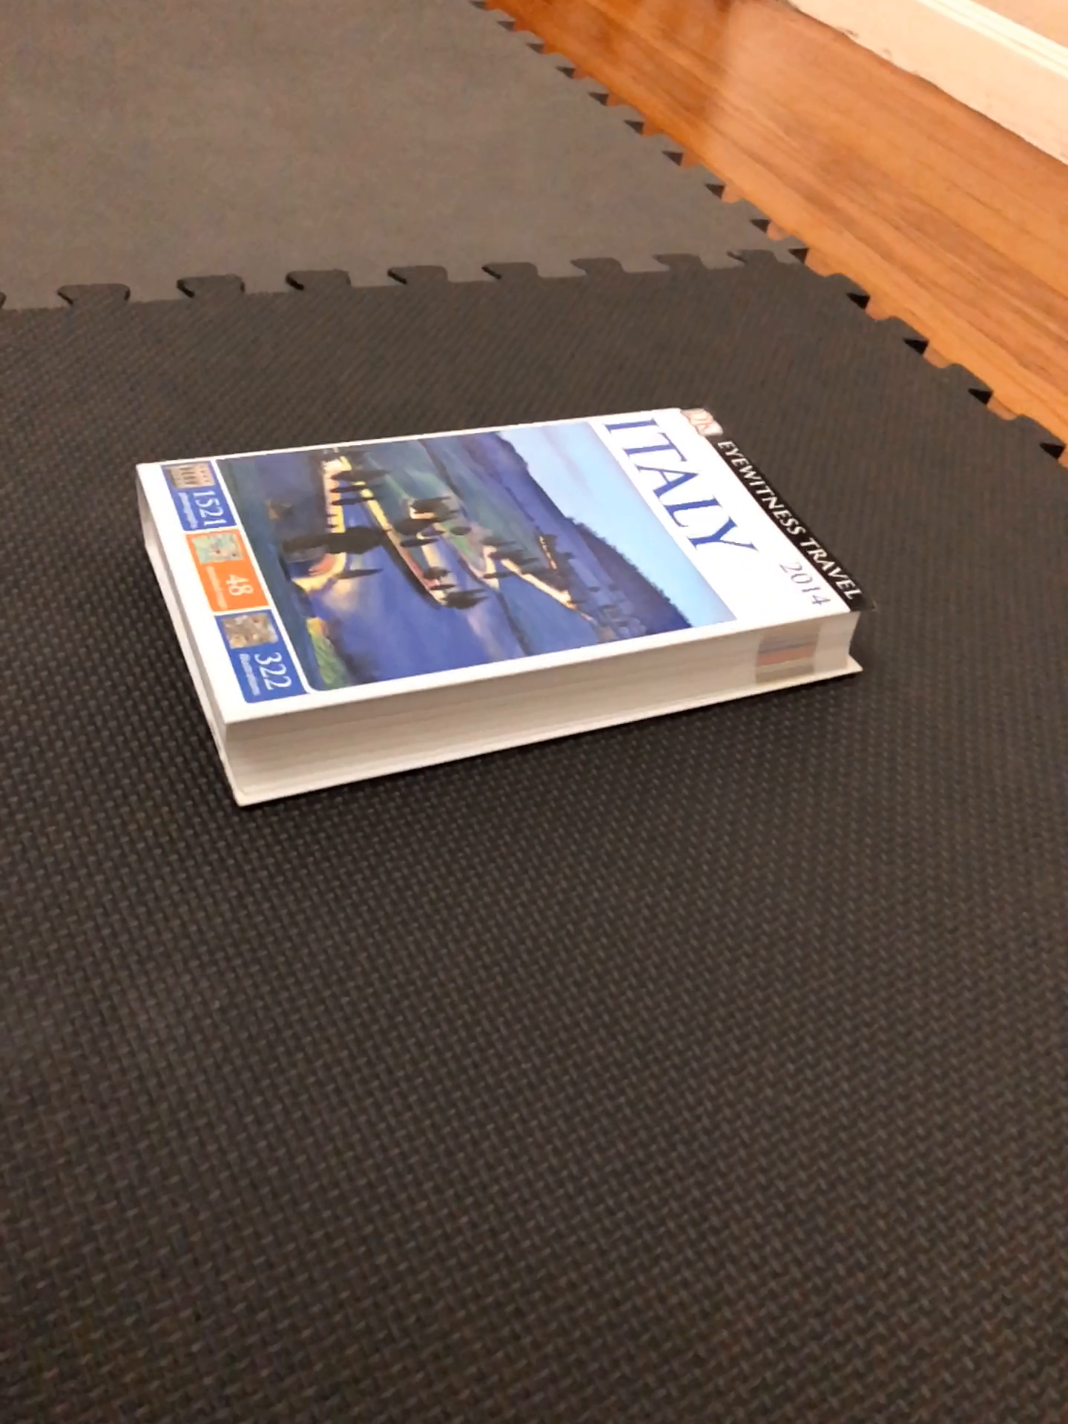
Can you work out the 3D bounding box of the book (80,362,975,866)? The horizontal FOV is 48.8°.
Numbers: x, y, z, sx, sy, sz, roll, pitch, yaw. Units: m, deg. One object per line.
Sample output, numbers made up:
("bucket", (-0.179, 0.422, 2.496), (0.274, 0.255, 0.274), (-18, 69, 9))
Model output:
("book", (-0.005, -0.051, 0.396), (0.250, 0.040, 0.161), (-12, 48, -24))
